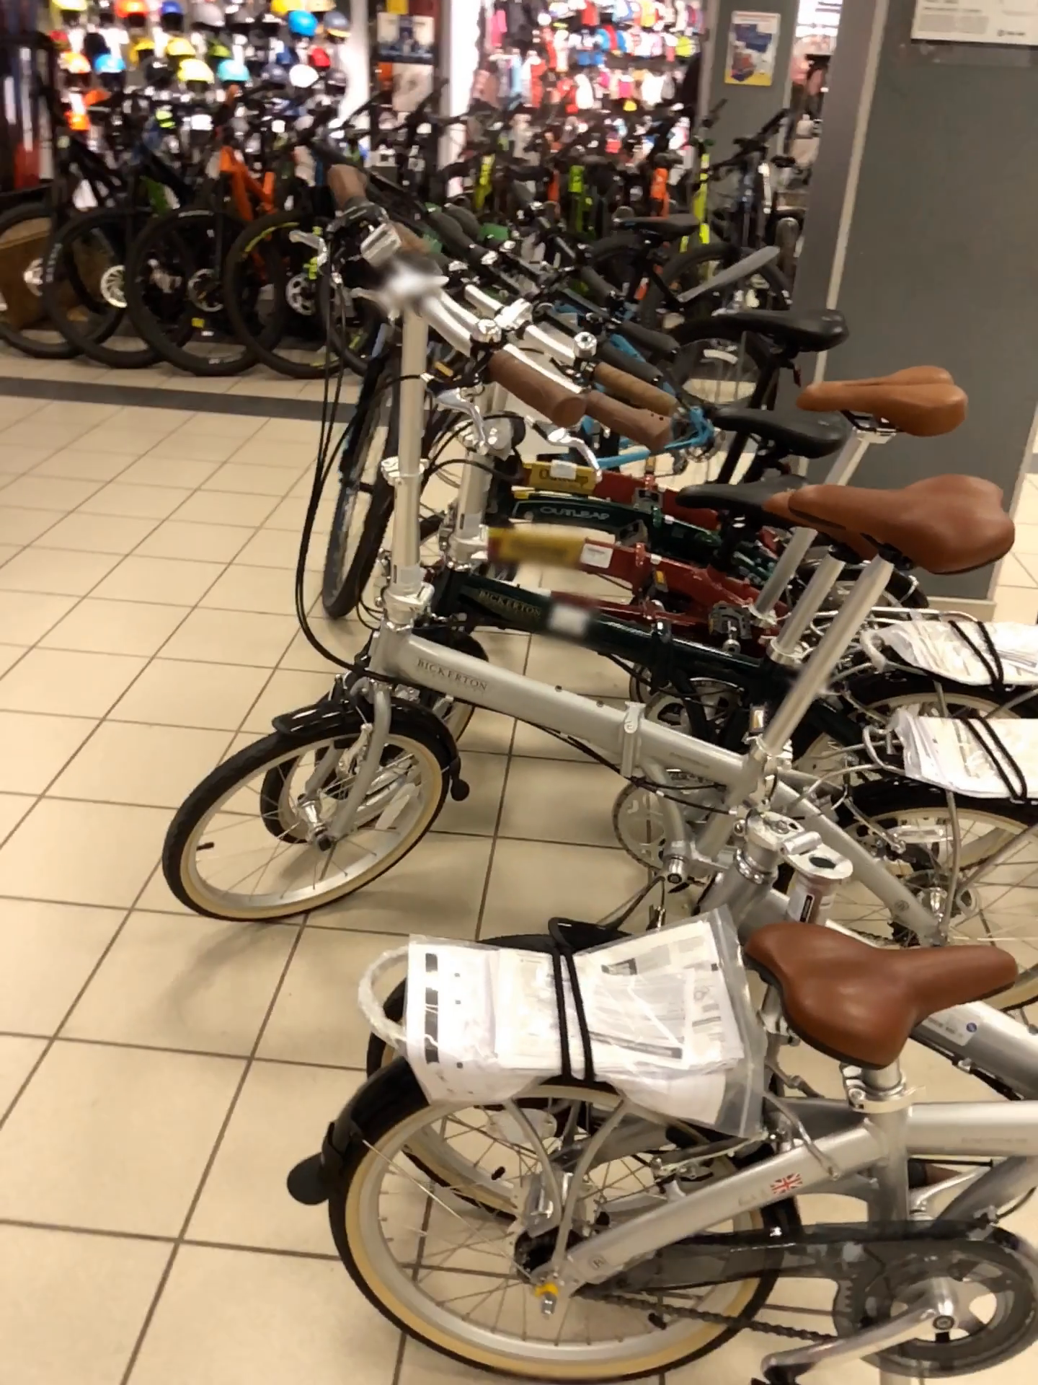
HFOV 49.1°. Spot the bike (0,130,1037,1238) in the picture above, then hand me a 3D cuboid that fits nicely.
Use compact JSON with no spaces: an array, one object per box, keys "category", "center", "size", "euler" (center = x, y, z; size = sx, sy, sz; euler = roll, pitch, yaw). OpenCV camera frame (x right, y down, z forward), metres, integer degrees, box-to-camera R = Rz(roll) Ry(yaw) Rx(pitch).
[{"category":"bike","center":[0.176,-0.019,1.476],"size":[1.358,1.153,0.555],"euler":[6,28,4]}]

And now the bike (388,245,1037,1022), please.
[{"category":"bike","center":[0.374,-0.106,1.811],"size":[1.139,1.037,0.559],"euler":[3,28,1]}]
